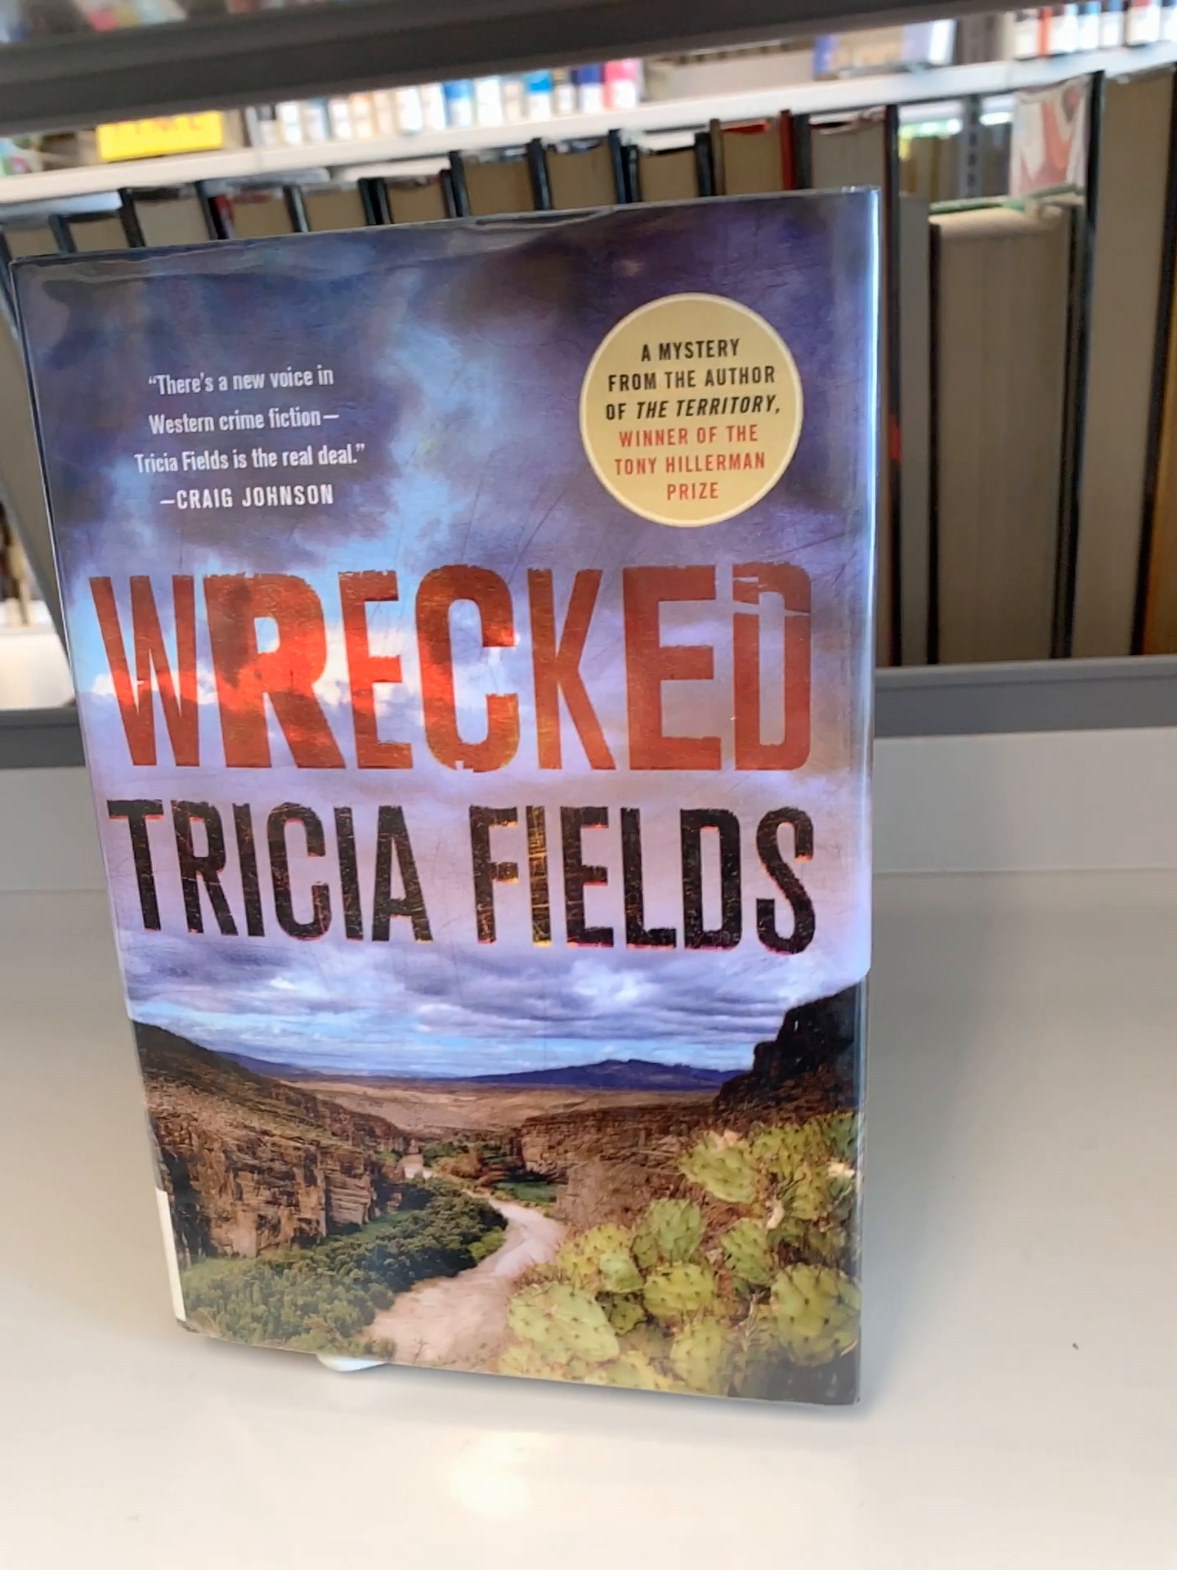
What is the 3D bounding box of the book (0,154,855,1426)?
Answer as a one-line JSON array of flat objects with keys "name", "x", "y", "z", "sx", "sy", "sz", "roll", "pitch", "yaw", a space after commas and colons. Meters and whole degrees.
[{"name": "book", "x": -0.029, "y": 0.010, "z": 0.221, "sx": 0.150, "sy": 0.203, "sz": 0.040, "roll": 0, "pitch": 16, "yaw": 12}]
